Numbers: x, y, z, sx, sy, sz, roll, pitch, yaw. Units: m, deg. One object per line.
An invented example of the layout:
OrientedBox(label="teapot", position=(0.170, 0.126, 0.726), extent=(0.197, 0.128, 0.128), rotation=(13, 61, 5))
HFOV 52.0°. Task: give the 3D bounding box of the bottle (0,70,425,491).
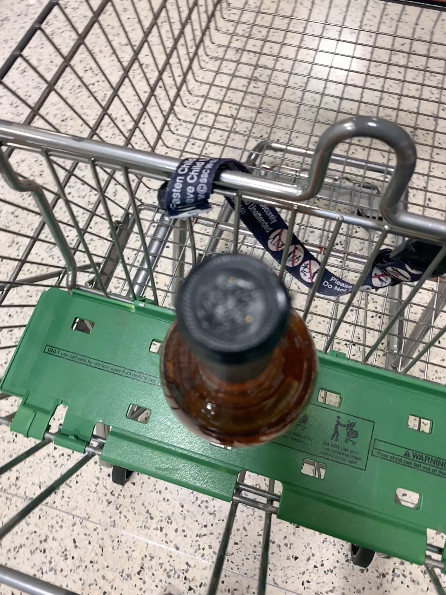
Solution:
OrientedBox(label="bottle", position=(0.007, 0.035, 0.260), extent=(0.083, 0.317, 0.087), rotation=(-1, 73, 3))
